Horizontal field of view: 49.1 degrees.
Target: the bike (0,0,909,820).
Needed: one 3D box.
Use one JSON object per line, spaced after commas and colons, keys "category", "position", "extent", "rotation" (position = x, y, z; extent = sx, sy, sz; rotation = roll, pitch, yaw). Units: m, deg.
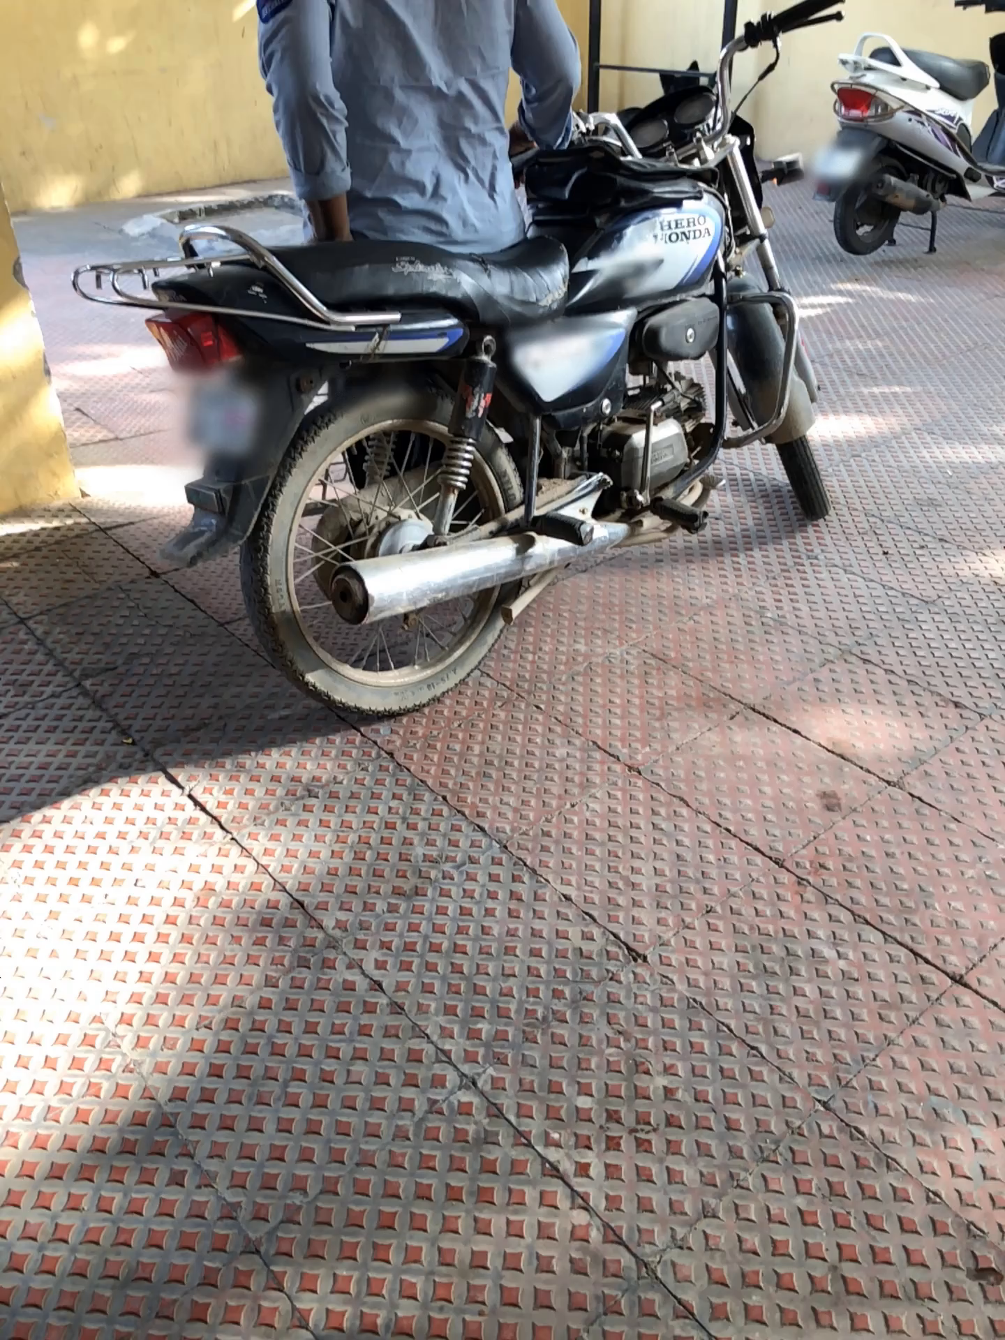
{"category": "bike", "position": [-0.031, -0.643, 2.061], "extent": [0.818, 1.063, 1.305], "rotation": [27, 44, 36]}
